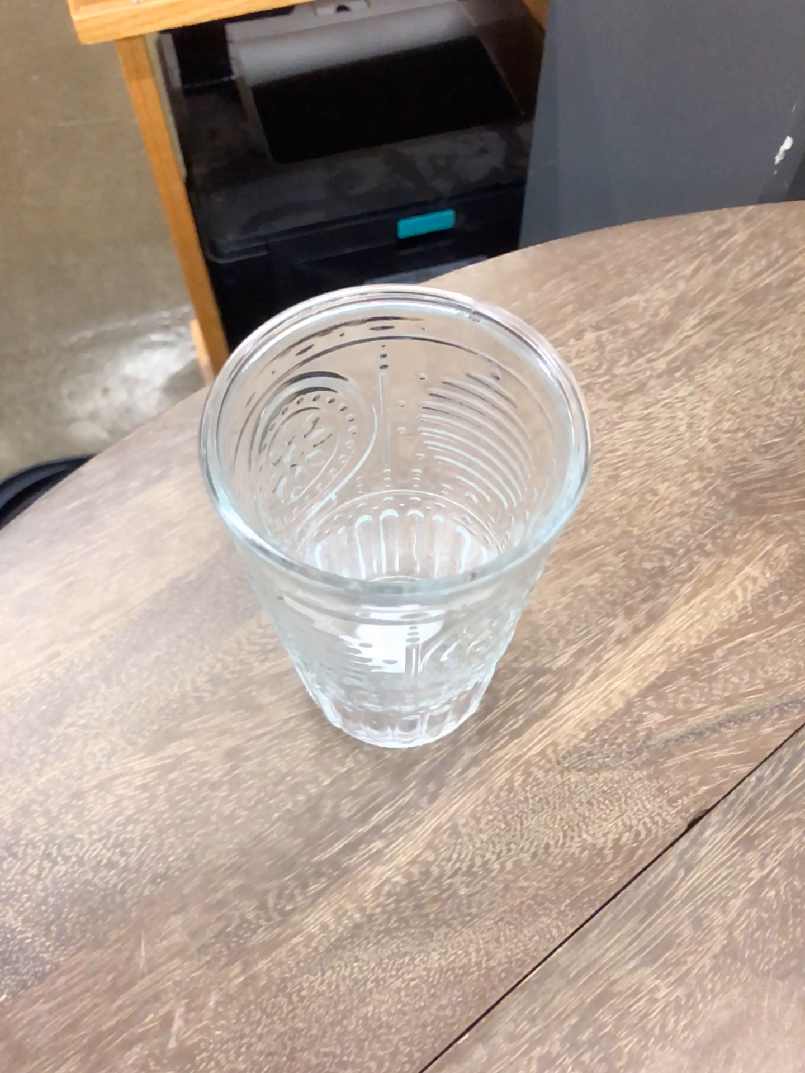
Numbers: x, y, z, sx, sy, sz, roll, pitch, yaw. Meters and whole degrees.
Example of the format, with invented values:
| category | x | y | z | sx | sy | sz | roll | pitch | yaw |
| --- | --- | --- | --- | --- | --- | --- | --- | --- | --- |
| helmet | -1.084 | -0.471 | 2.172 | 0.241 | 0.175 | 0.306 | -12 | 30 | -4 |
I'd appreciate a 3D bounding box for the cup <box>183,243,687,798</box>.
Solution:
| category | x | y | z | sx | sy | sz | roll | pitch | yaw |
| --- | --- | --- | --- | --- | --- | --- | --- | --- | --- |
| cup | 0.002 | 0.003 | 0.225 | 0.088 | 0.107 | 0.085 | -1 | 59 | 1 |
